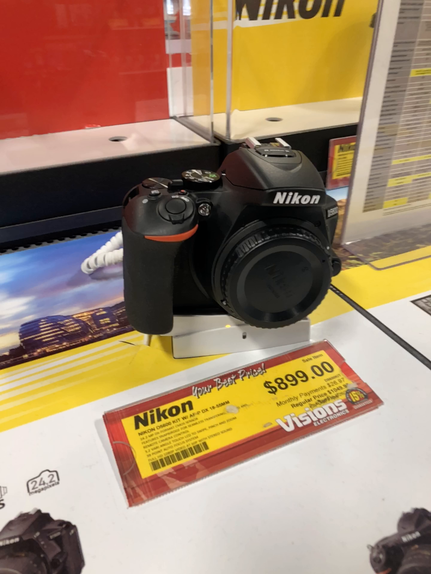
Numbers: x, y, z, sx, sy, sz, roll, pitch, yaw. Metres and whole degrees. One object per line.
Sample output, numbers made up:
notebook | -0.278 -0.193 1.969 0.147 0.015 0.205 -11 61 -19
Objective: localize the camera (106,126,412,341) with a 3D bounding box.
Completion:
camera | 0.014 -0.034 0.266 0.140 0.089 0.081 -2 29 -10
